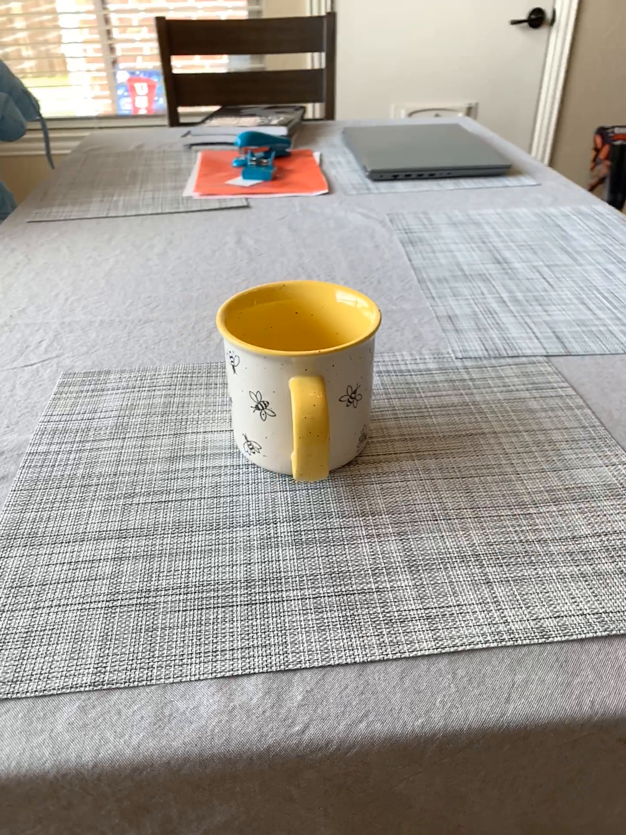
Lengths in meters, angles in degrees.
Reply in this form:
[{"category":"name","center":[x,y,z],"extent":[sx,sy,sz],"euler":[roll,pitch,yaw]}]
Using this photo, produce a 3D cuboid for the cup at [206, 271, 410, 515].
[{"category":"cup","center":[-0.005,-0.022,0.445],"extent":[0.113,0.107,0.137],"euler":[-2,34,-2]}]
